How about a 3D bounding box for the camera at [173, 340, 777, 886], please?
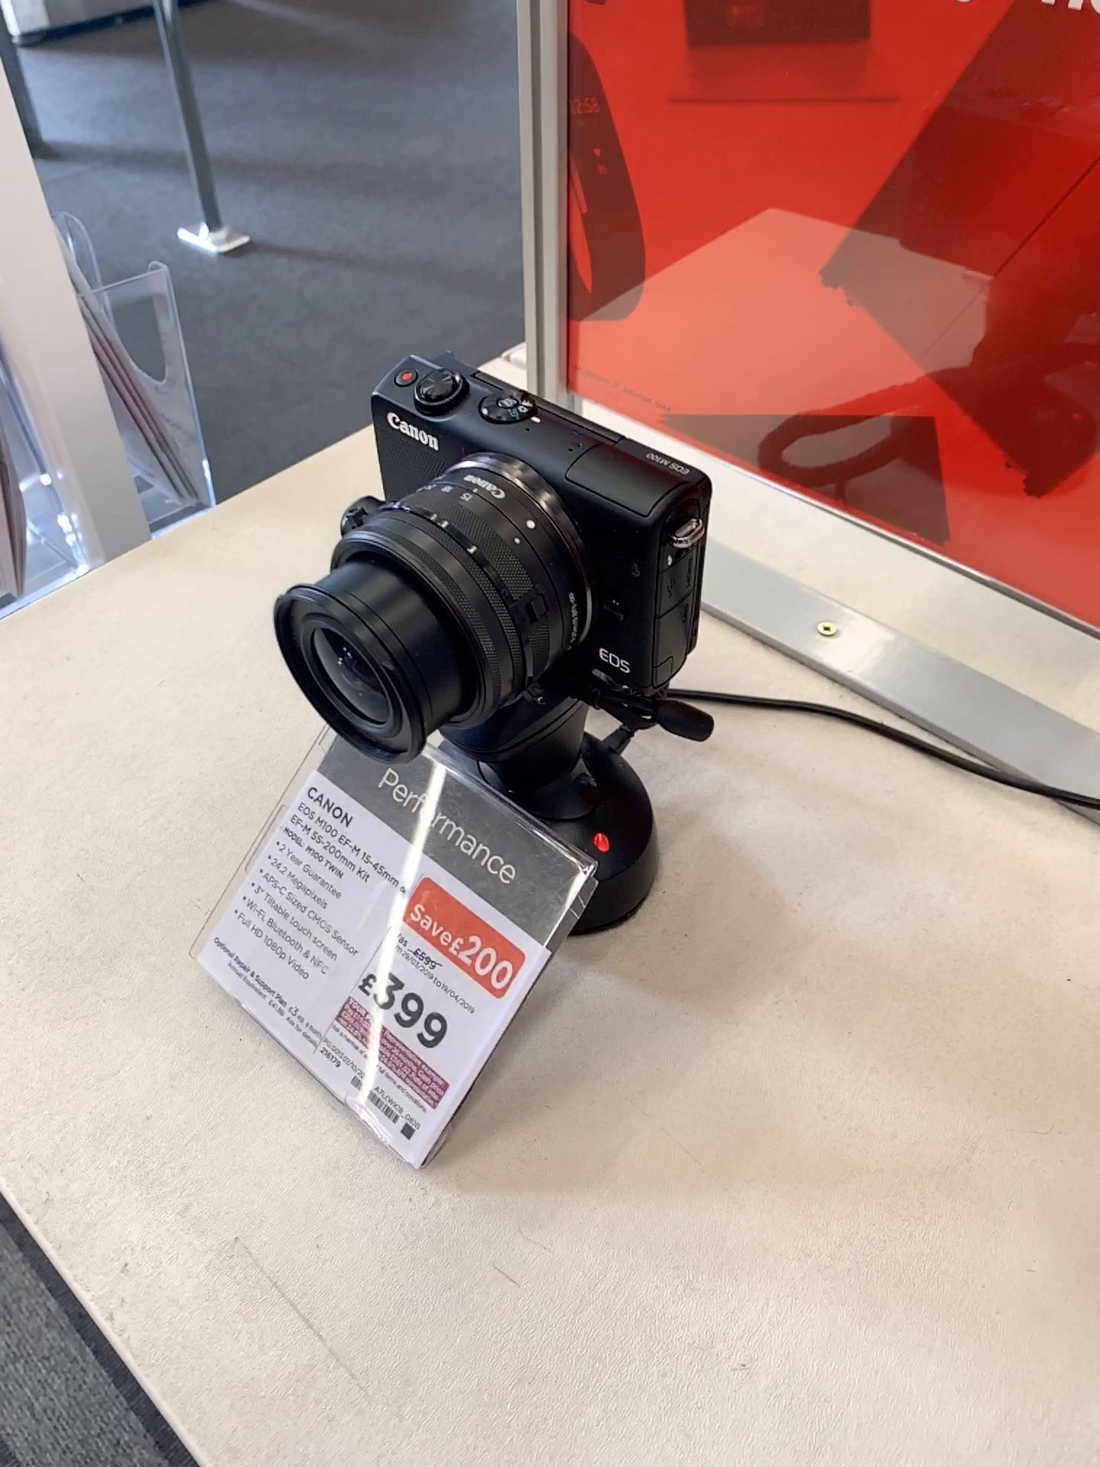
[{"bbox_3d":[-0.019,-0.041,0.318,0.120,0.069,0.101,31,53,27],"label":"camera"}]
